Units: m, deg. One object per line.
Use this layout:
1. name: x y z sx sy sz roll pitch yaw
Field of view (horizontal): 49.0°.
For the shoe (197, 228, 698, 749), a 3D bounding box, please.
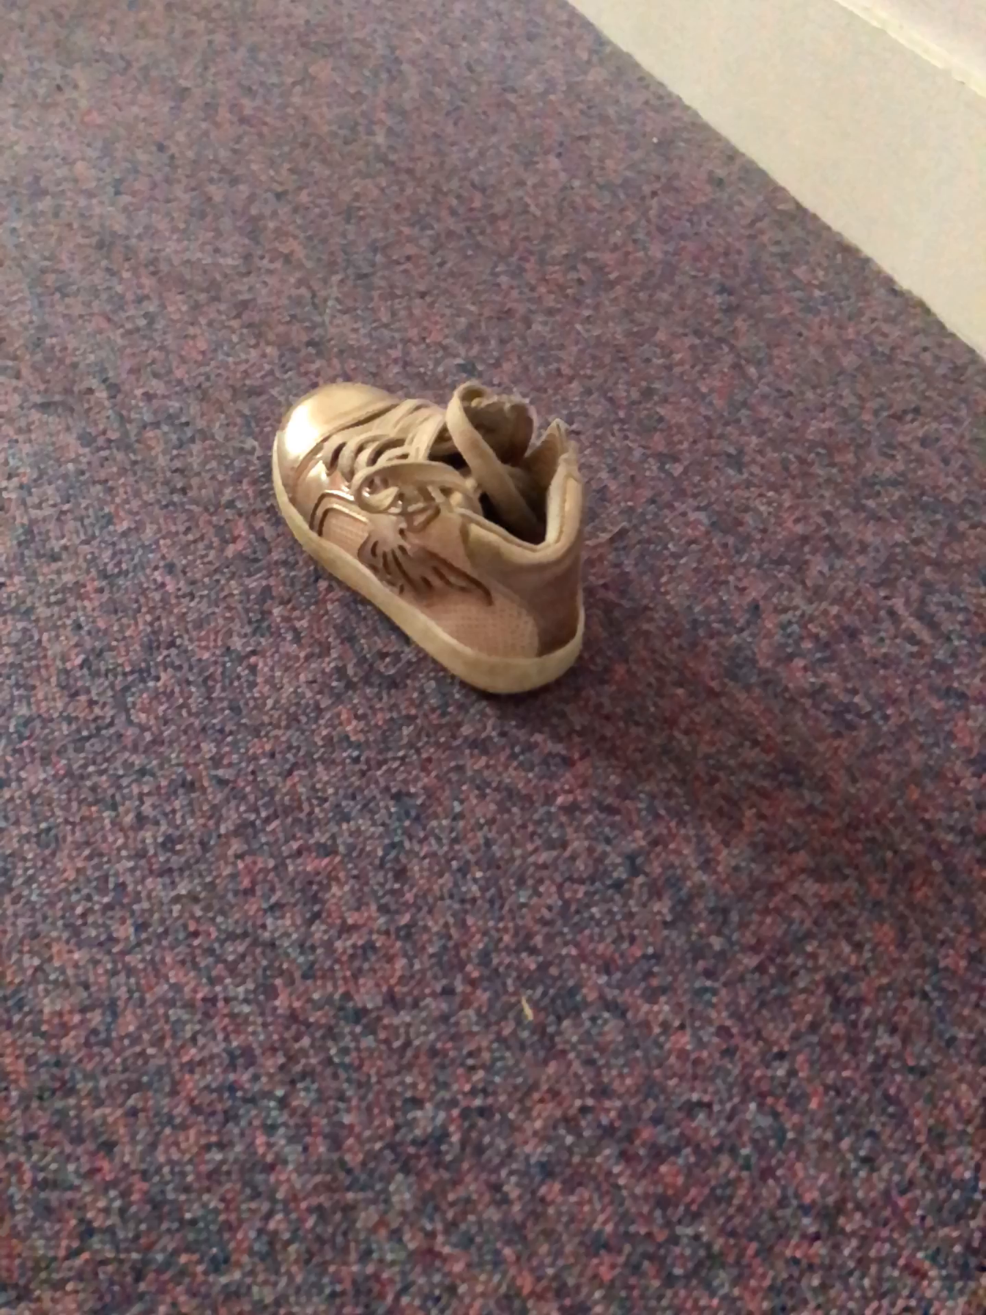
1. shoe: -0.019 -0.062 0.362 0.080 0.080 0.150 -31 57 -23
